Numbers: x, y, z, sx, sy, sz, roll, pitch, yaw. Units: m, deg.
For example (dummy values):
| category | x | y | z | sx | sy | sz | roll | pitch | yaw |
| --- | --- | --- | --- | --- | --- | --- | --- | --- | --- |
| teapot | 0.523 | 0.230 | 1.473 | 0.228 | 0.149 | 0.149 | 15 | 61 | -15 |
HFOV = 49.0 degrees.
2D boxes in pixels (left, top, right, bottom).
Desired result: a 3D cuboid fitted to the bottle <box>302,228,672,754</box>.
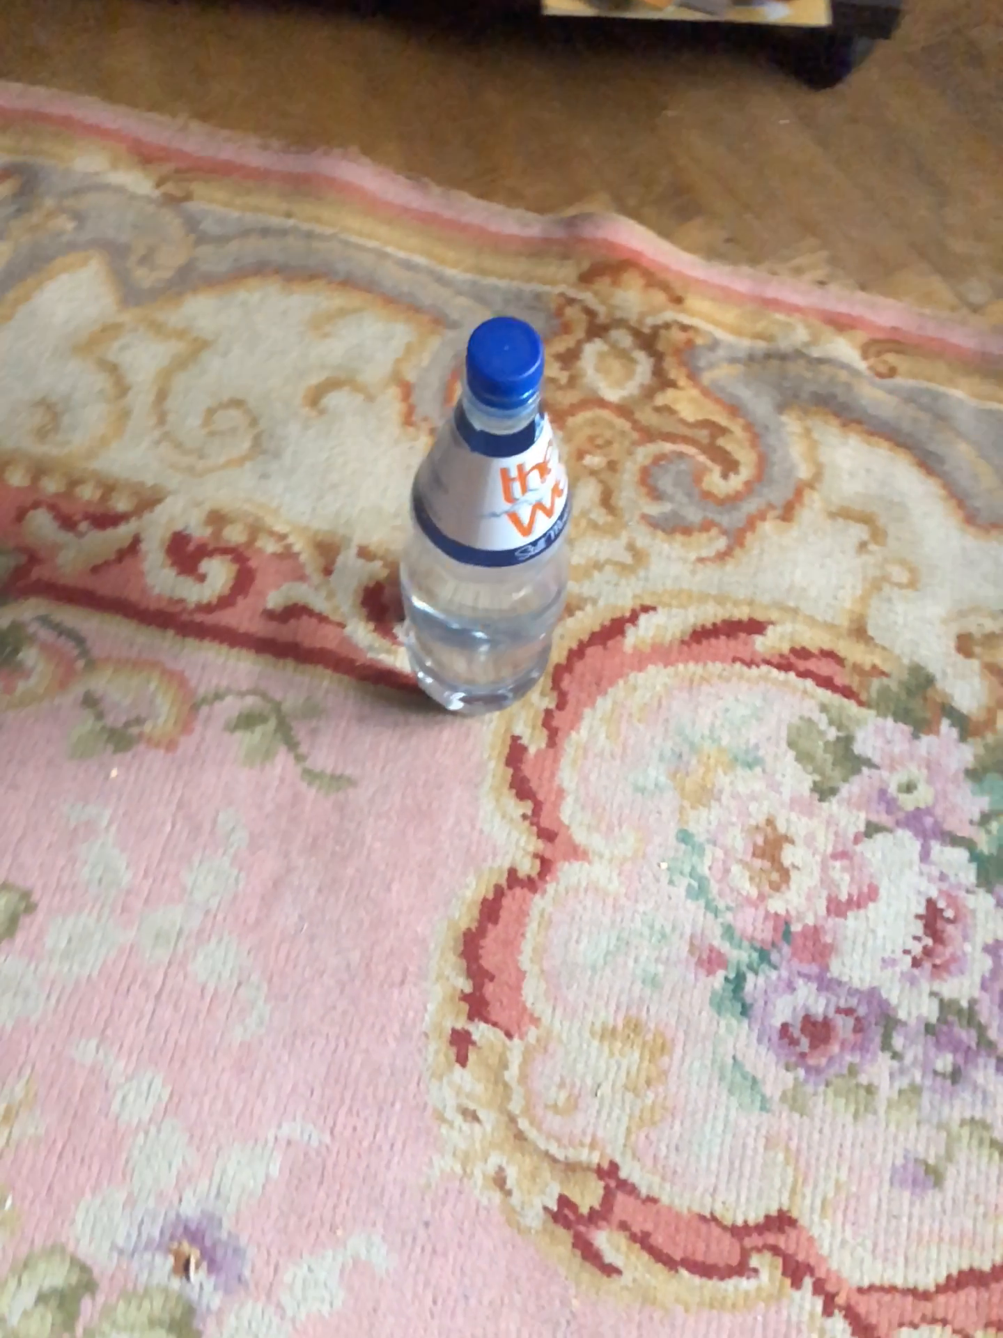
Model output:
| category | x | y | z | sx | sy | sz | roll | pitch | yaw |
| --- | --- | --- | --- | --- | --- | --- | --- | --- | --- |
| bottle | -0.016 | -0.066 | 0.586 | 0.100 | 0.309 | 0.110 | 42 | 73 | 10 |
